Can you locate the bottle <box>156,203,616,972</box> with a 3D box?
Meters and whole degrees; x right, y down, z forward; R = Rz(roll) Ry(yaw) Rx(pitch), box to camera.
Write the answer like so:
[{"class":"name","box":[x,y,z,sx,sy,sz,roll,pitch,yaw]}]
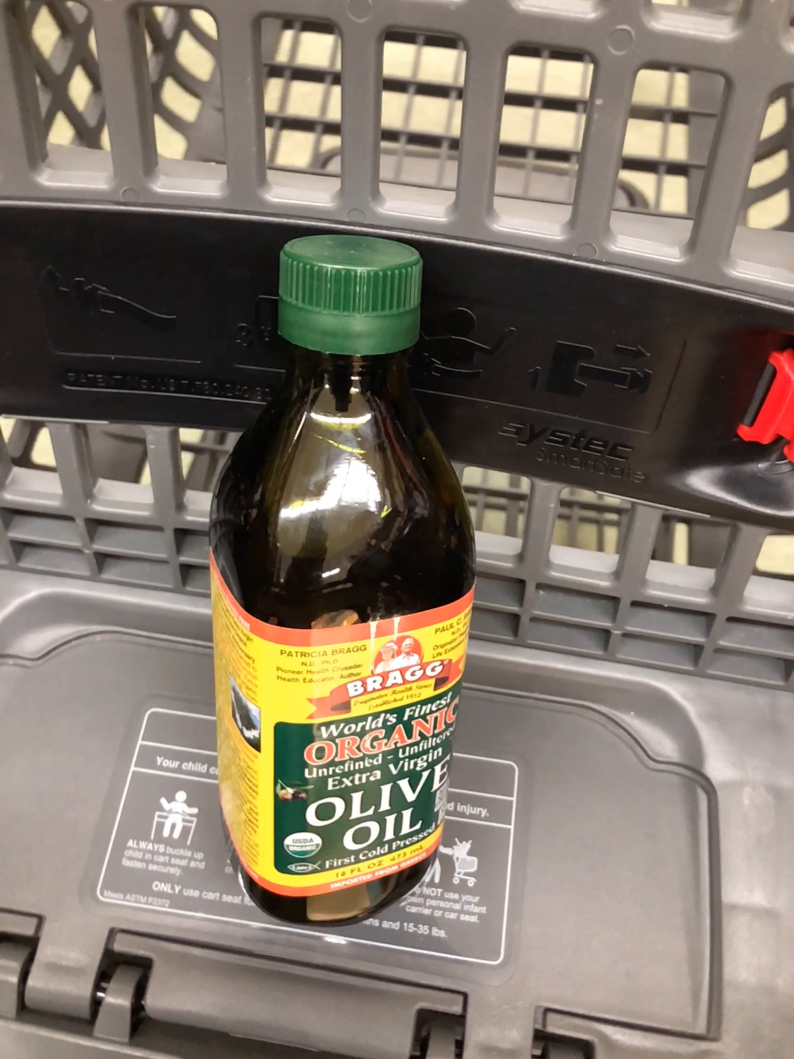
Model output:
[{"class":"bottle","box":[-0.015,0.019,0.243,0.080,0.193,0.070,-8,33,-24]}]
